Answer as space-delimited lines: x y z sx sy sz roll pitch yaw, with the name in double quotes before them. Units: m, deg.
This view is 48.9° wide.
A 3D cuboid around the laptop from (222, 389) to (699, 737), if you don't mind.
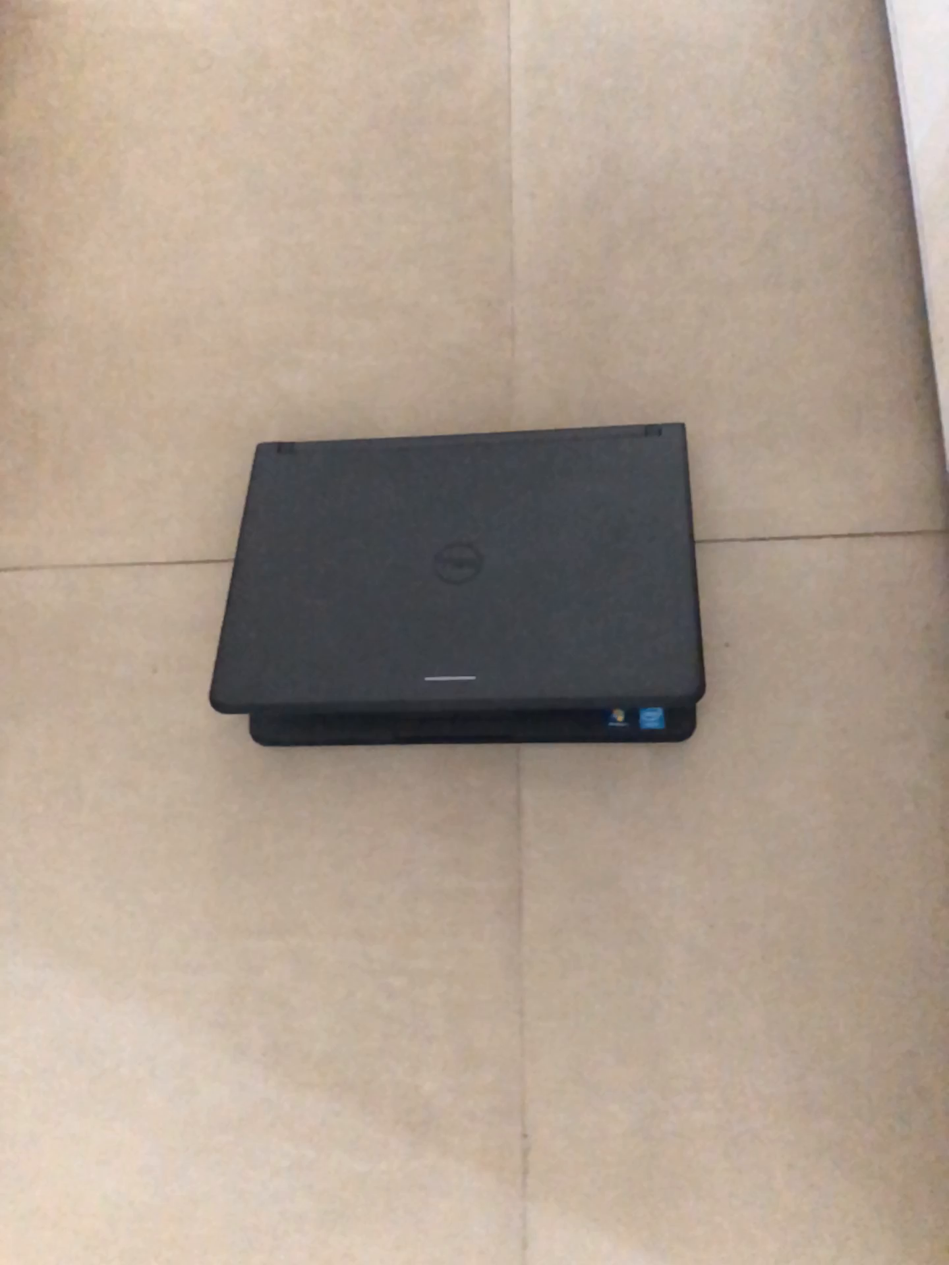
"laptop" -0.009 -0.042 0.727 0.315 0.064 0.220 -1 81 8
